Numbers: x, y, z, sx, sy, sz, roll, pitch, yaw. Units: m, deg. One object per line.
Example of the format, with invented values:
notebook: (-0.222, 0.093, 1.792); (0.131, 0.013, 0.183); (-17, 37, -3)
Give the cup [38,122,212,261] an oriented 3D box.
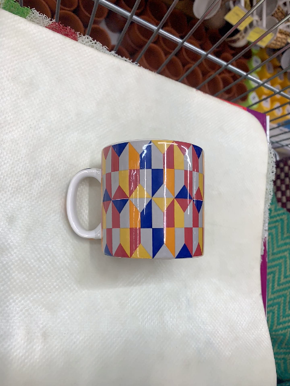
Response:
cup: (-0.008, 0.001, 0.216); (0.100, 0.080, 0.080); (1, 85, 5)
